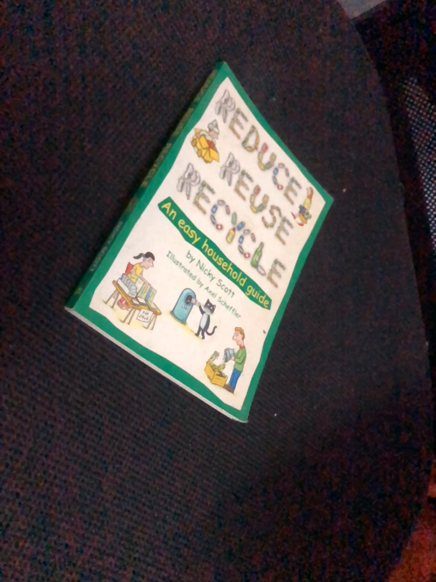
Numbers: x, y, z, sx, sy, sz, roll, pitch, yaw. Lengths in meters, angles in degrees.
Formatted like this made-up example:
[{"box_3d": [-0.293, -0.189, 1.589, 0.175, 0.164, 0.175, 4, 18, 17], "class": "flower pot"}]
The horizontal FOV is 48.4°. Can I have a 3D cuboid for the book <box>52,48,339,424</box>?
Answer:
[{"box_3d": [0.005, -0.031, 0.286, 0.131, 0.018, 0.174, 41, 62, -32], "class": "book"}]
